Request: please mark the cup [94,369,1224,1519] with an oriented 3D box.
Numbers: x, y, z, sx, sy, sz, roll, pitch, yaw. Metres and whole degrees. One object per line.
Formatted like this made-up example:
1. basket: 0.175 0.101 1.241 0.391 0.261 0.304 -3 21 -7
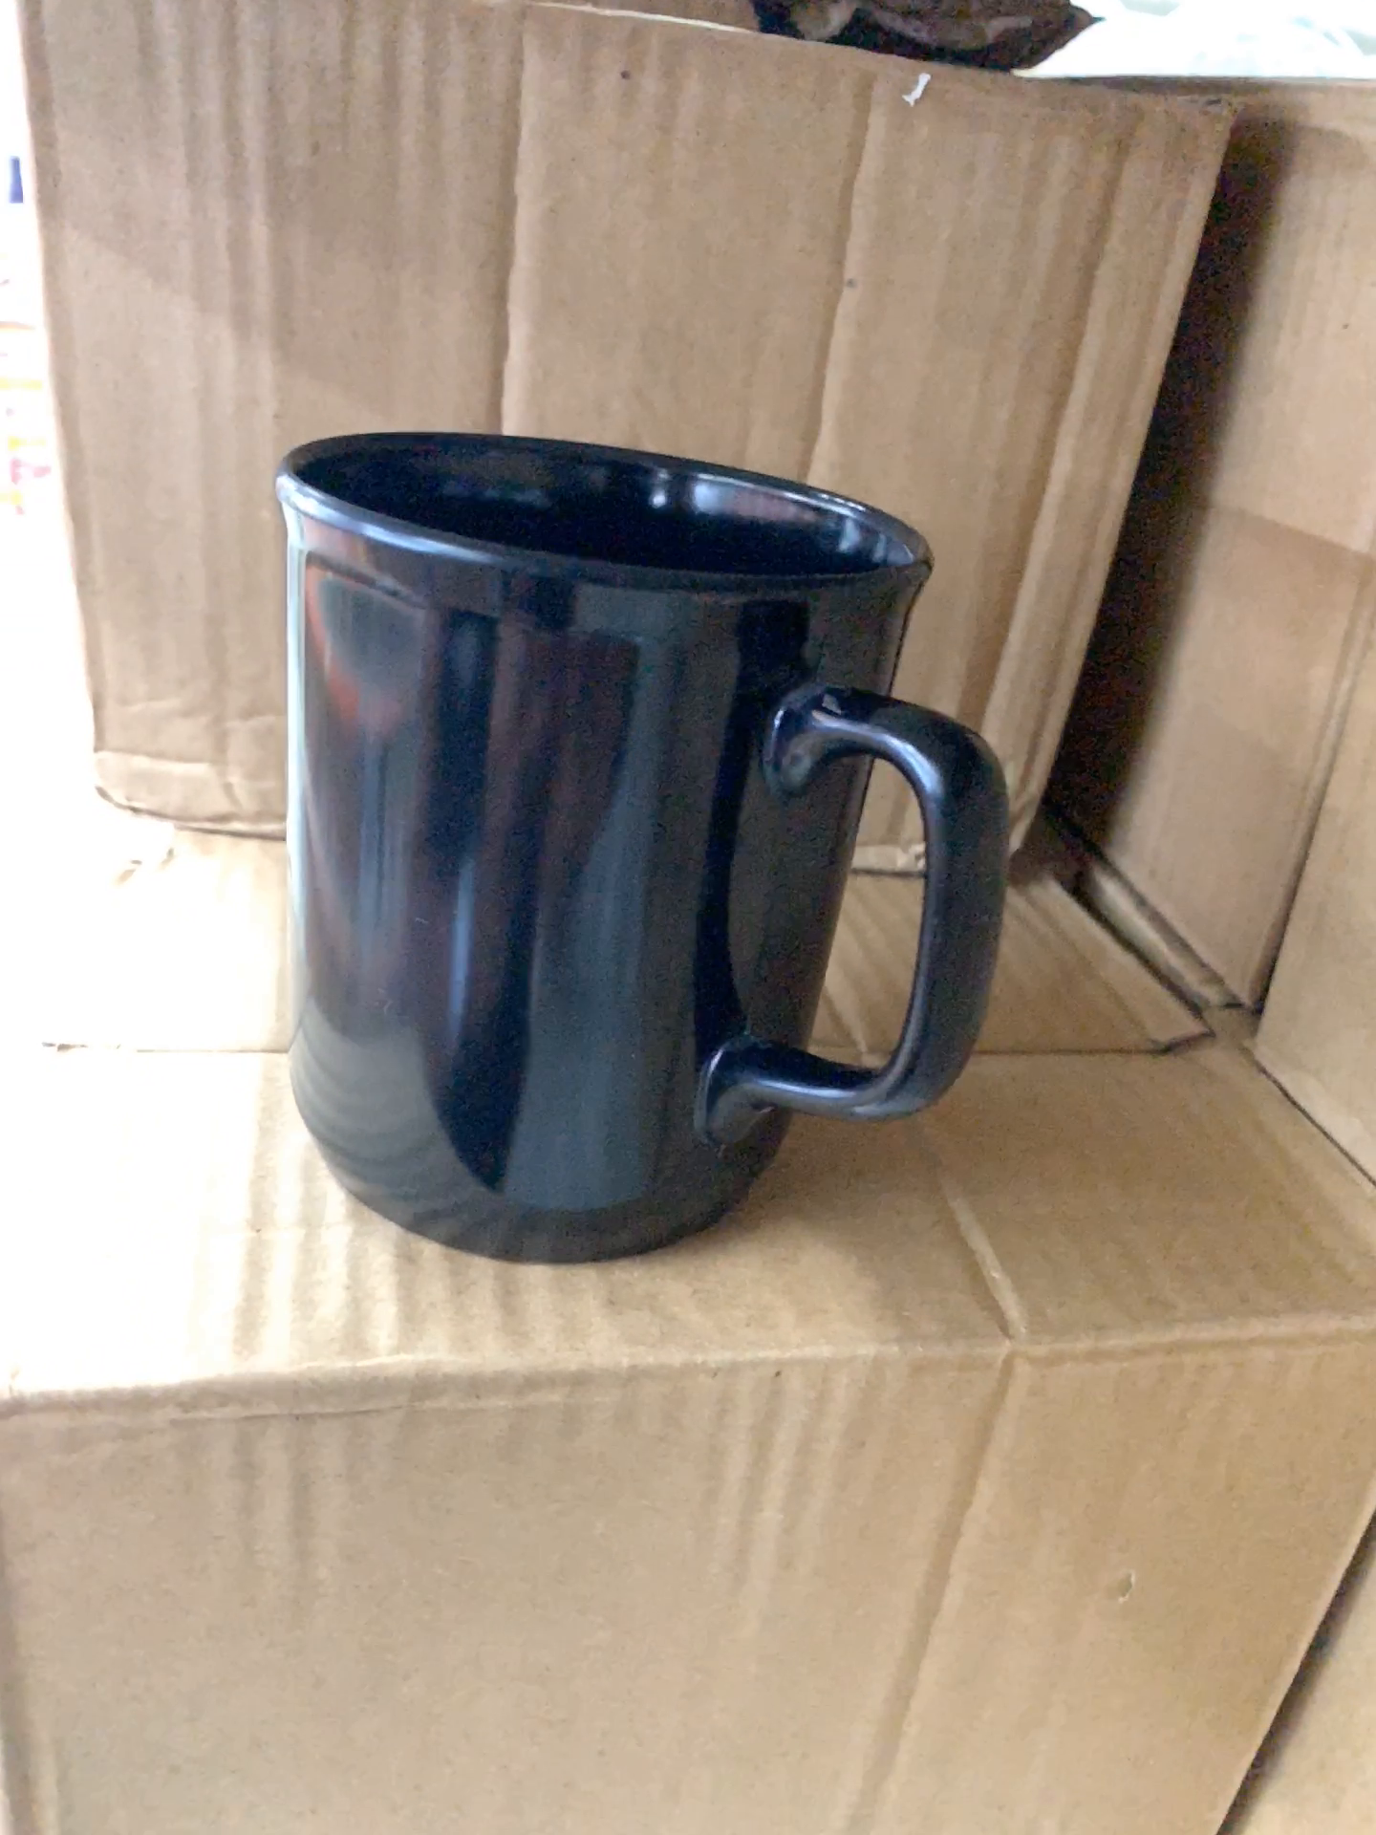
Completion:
1. cup: -0.009 -0.010 0.173 0.100 0.089 0.070 27 34 37
